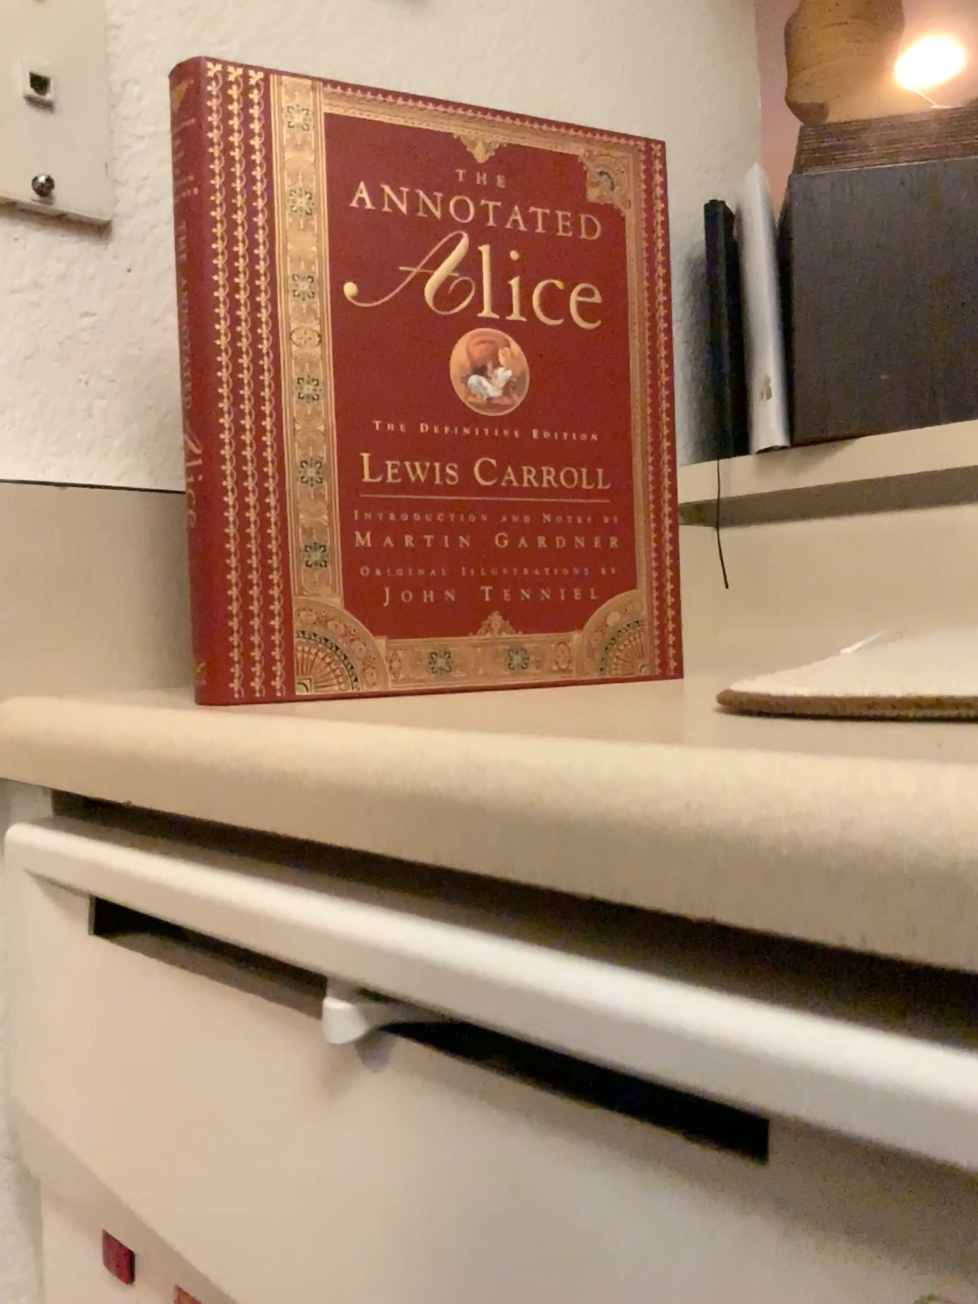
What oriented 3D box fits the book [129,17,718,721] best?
[{"bbox_3d":[-0.033,-0.111,0.524,0.230,0.260,0.150,-4,2,-28],"label":"book"}]
